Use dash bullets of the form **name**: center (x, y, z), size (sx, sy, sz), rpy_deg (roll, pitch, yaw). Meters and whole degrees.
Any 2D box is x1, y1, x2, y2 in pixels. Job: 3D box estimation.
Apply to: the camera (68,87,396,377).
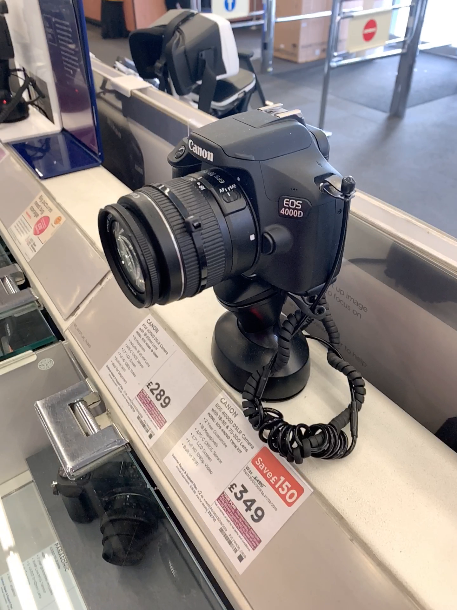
- **camera**: center (-0.005, -0.060, 0.302), size (0.136, 0.101, 0.141), rpy_deg (-21, 43, -24)
